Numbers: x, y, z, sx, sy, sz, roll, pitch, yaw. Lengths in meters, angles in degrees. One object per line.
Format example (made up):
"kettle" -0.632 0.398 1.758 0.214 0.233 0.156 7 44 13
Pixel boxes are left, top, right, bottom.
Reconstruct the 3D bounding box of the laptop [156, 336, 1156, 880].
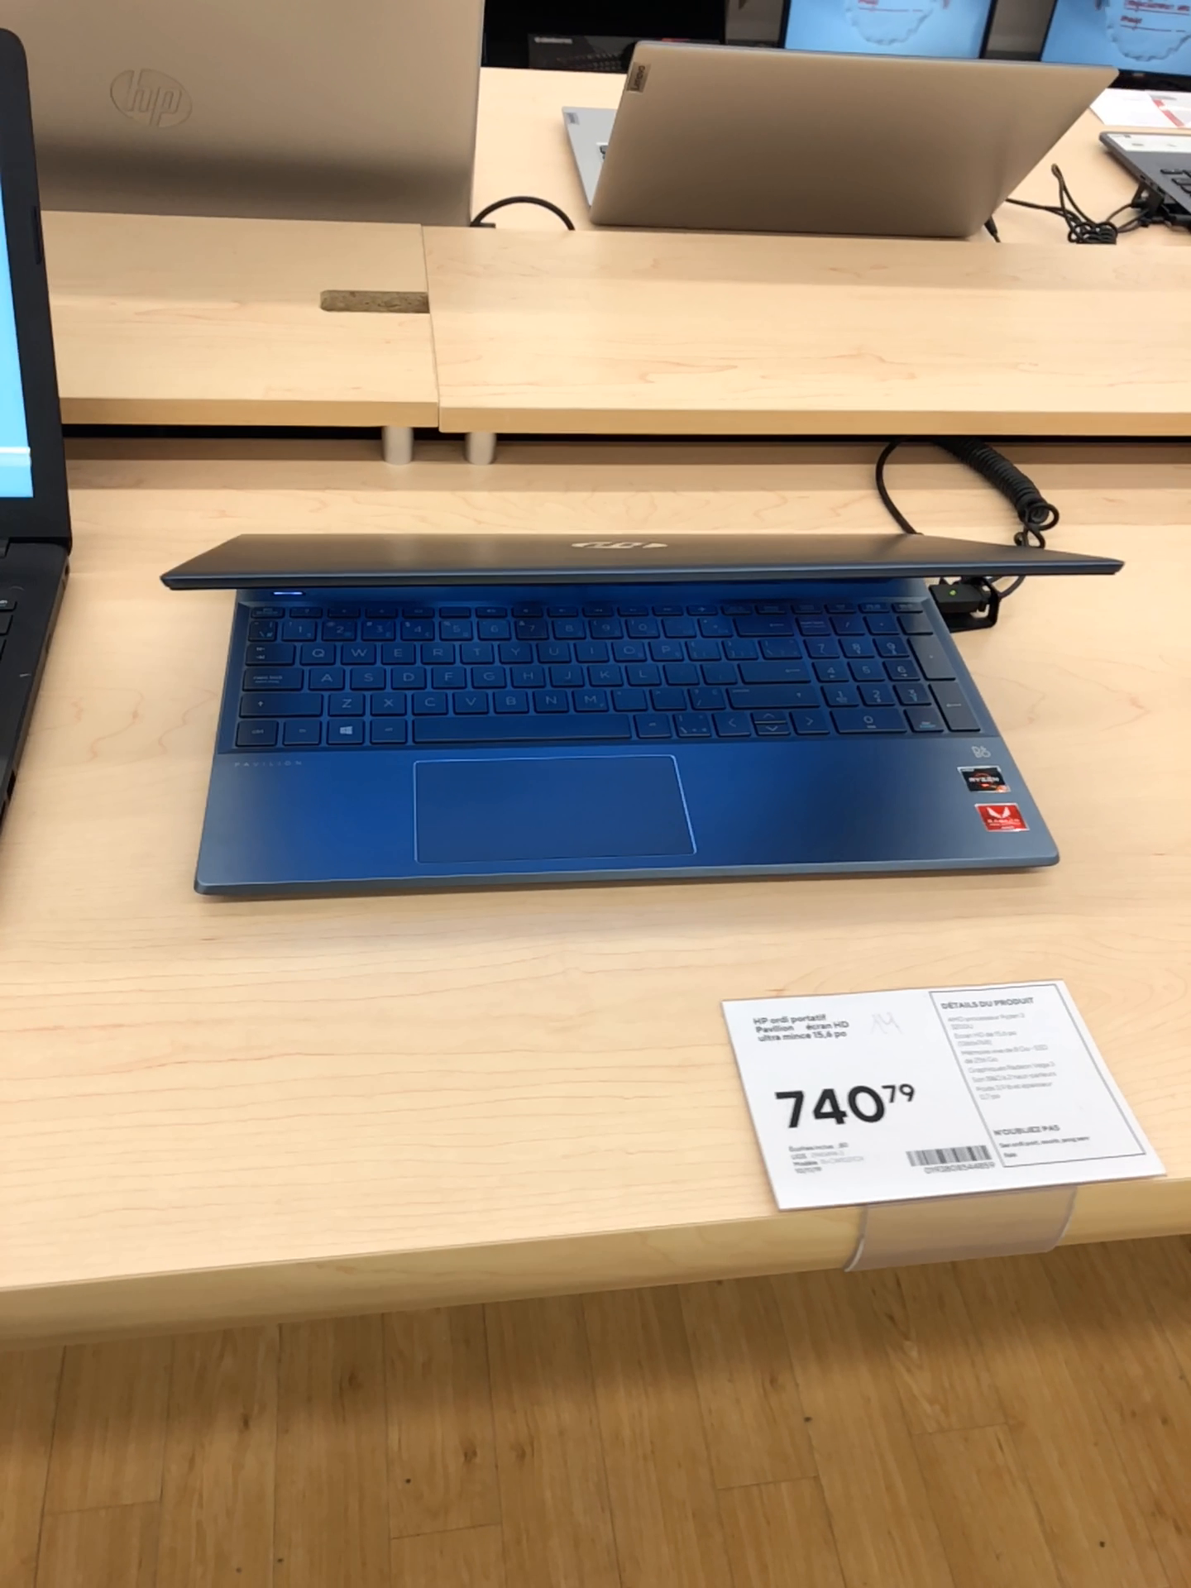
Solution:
"laptop" 0.014 -0.088 0.564 0.349 0.119 0.210 -1 45 -8
